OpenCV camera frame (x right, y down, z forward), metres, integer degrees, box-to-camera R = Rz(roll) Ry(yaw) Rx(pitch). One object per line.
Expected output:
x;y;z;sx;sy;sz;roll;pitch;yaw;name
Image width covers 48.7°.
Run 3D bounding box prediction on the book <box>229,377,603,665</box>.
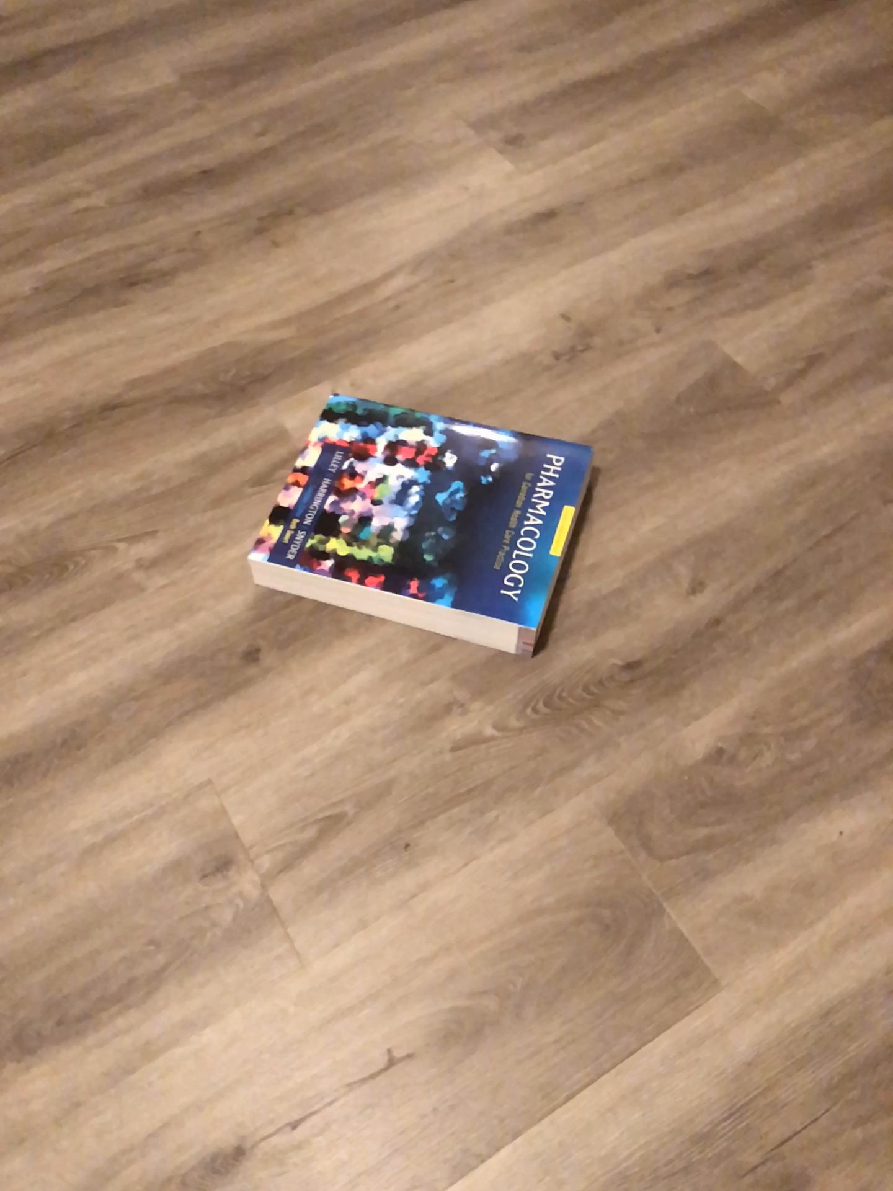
-0.021;-0.079;0.907;0.277;0.046;0.229;14;59;12;book
